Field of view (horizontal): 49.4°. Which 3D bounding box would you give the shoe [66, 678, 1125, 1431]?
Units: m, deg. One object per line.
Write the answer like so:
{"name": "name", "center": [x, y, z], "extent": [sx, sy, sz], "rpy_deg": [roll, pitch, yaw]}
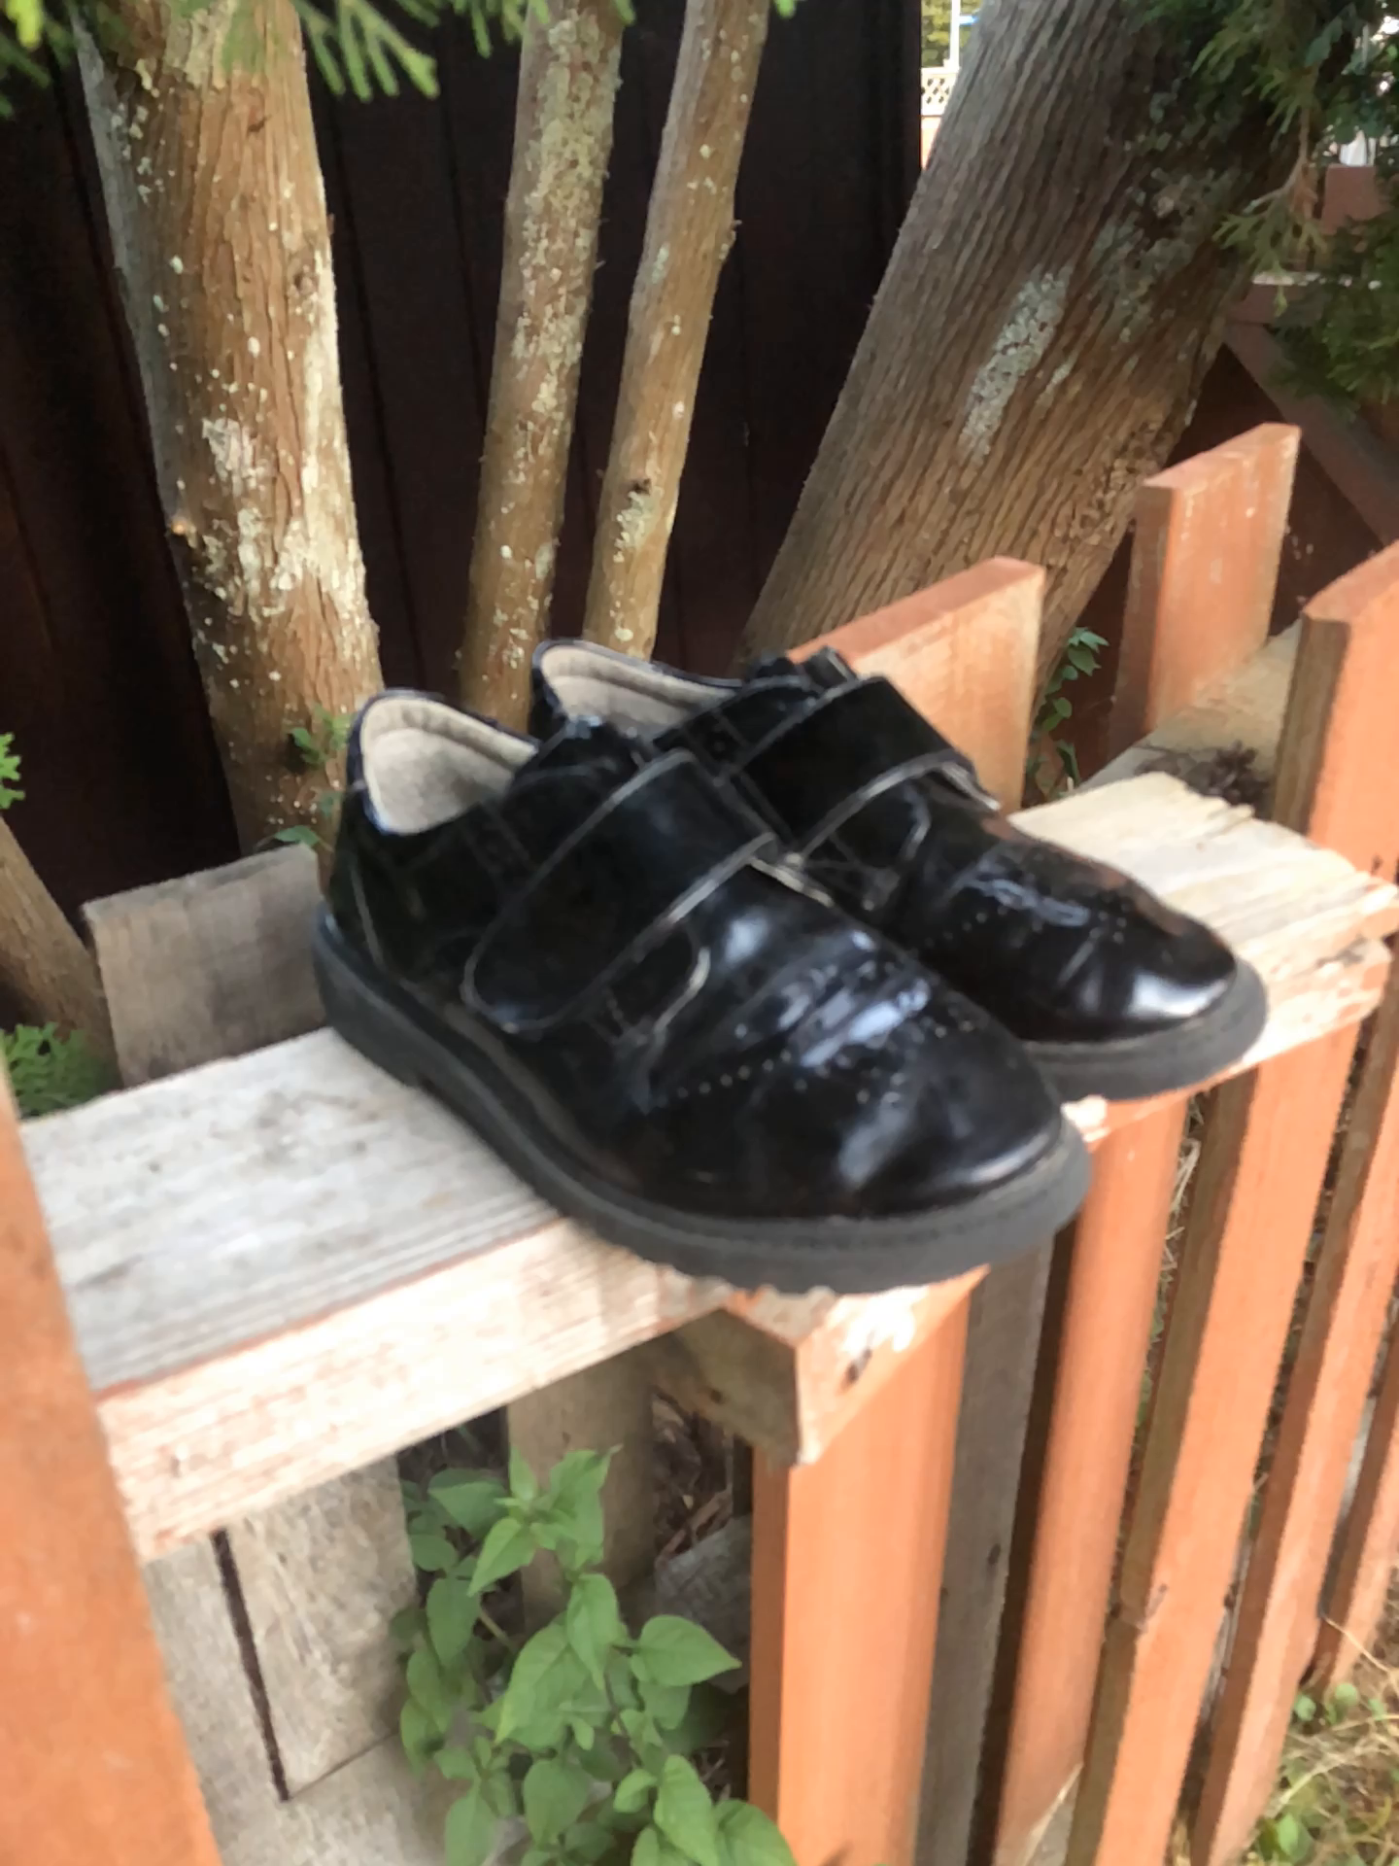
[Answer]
{"name": "shoe", "center": [-0.036, 0.007, 0.355], "extent": [0.241, 0.070, 0.090], "rpy_deg": [20, 35, 36]}

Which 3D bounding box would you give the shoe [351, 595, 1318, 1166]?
{"name": "shoe", "center": [0.026, -0.029, 0.399], "extent": [0.231, 0.070, 0.090], "rpy_deg": [17, 34, 33]}
